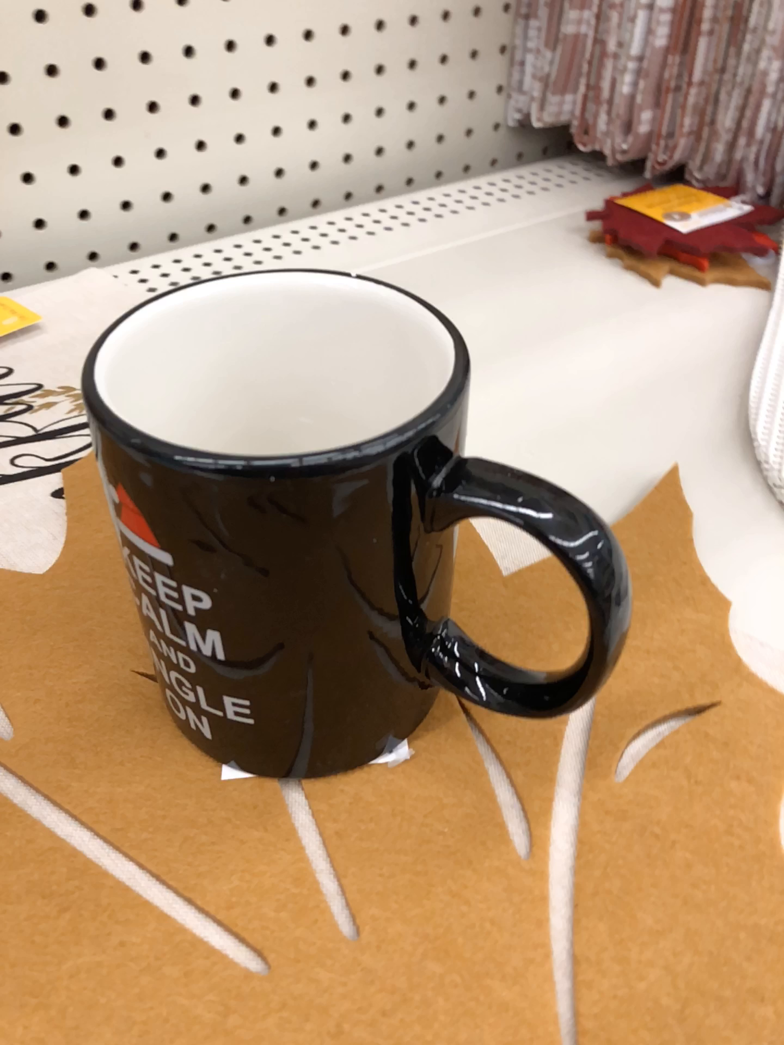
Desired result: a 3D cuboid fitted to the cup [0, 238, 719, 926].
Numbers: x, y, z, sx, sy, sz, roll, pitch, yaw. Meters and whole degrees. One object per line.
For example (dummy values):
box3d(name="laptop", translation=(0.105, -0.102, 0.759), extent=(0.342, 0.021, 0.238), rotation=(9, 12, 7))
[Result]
box3d(name="cup", translation=(-0.005, 0.008, 0.225), extent=(0.130, 0.110, 0.090), rotation=(19, 44, 20))
